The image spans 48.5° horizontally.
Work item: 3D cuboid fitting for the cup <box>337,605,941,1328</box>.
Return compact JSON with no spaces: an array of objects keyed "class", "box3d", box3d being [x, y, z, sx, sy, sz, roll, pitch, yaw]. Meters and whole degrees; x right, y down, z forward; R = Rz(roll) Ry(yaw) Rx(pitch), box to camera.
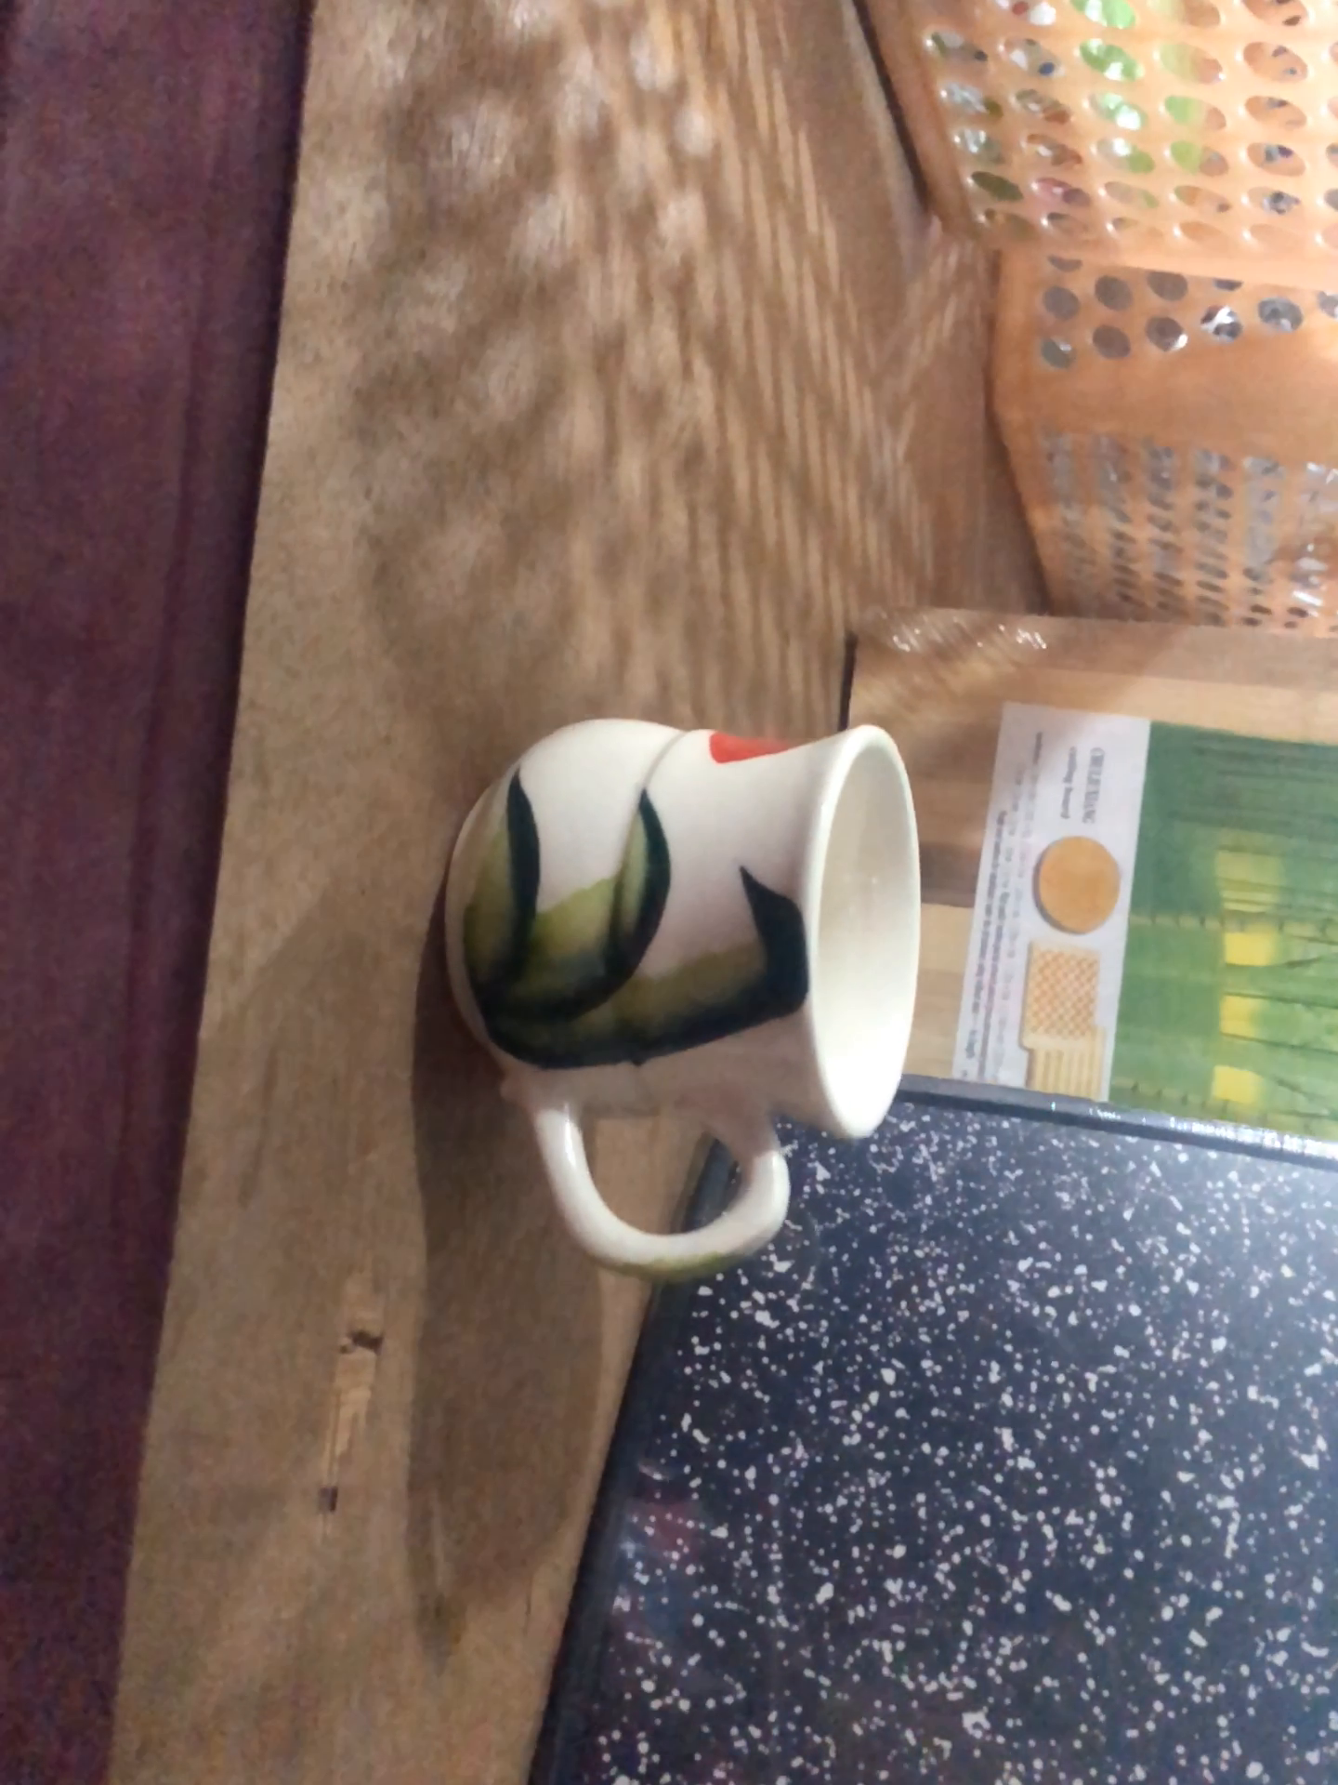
[{"class":"cup","box3d":[0.001,0.014,0.219,0.060,0.060,0.090,38,56,-63]}]
